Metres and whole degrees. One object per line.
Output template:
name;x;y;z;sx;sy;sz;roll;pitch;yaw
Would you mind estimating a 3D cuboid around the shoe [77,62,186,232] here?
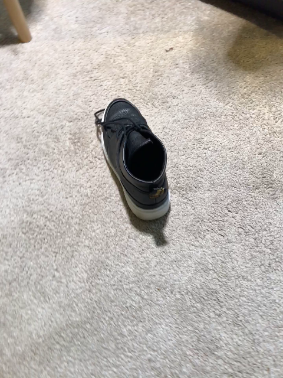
shoe;-0.022;-0.076;0.544;0.107;0.111;0.262;-17;66;-4
